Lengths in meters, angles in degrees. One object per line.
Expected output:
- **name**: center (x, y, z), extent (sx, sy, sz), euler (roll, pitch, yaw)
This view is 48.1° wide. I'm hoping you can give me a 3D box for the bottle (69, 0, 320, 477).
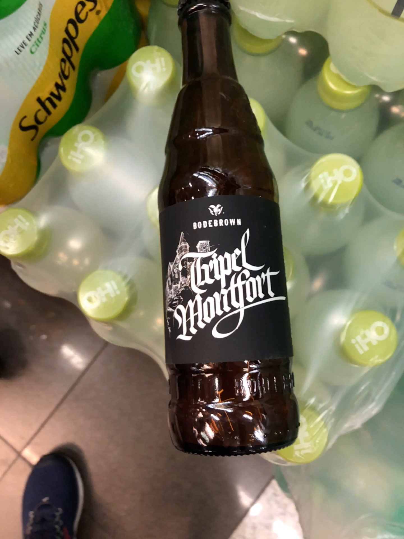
- **bottle**: center (-0.006, -0.050, 0.208), extent (0.070, 0.070, 0.250), euler (-7, 82, 3)
